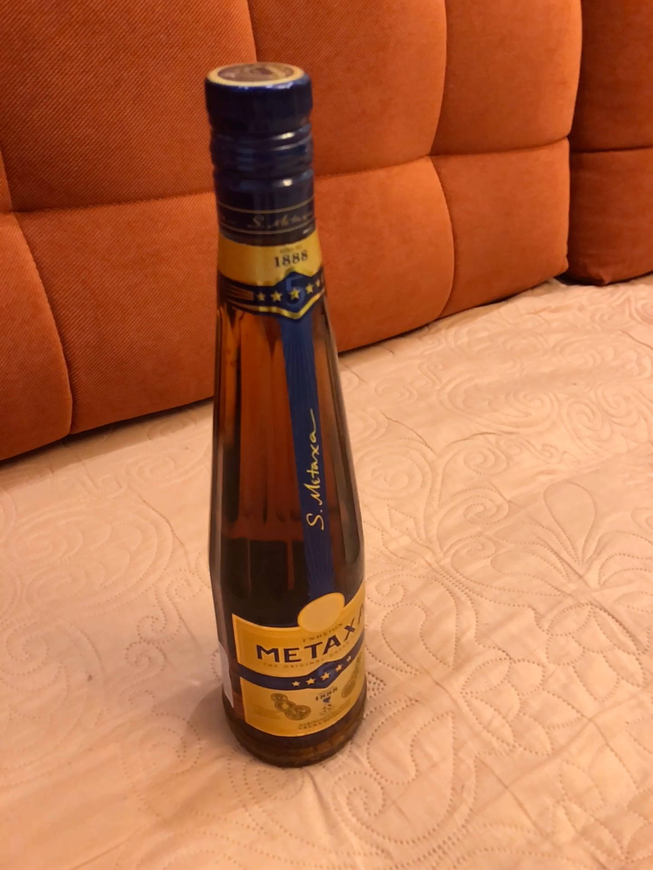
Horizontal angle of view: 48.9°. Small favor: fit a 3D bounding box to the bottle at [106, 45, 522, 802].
[{"bbox_3d":[-0.016,0.016,0.303,0.100,0.308,0.091,-10,37,-18],"label":"bottle"}]
